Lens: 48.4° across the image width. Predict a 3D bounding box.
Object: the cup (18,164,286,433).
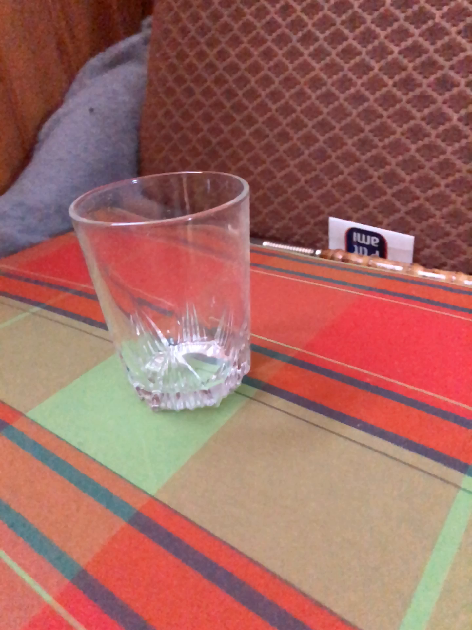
[{"bbox_3d":[-0.025,-0.010,0.214,0.070,0.080,0.070,-7,30,4],"label":"cup"}]
